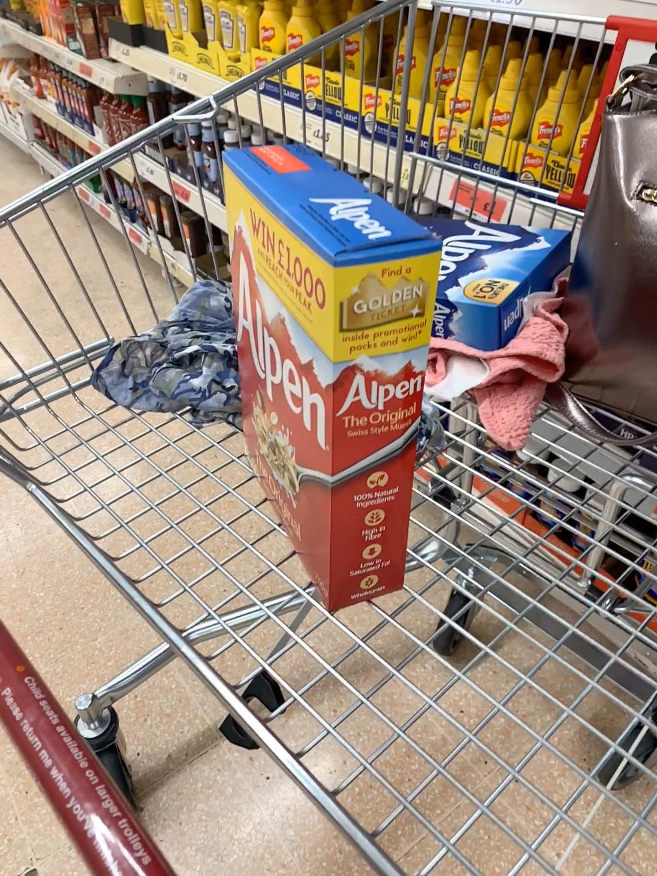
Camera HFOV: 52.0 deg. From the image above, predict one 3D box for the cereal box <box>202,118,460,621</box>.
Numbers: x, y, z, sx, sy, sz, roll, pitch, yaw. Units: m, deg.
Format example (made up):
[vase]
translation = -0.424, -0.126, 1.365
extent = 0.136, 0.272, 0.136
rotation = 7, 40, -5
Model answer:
[cereal box]
translation = -0.008, -0.040, 0.420
extent = 0.060, 0.248, 0.181
rotation = -17, 43, -19
